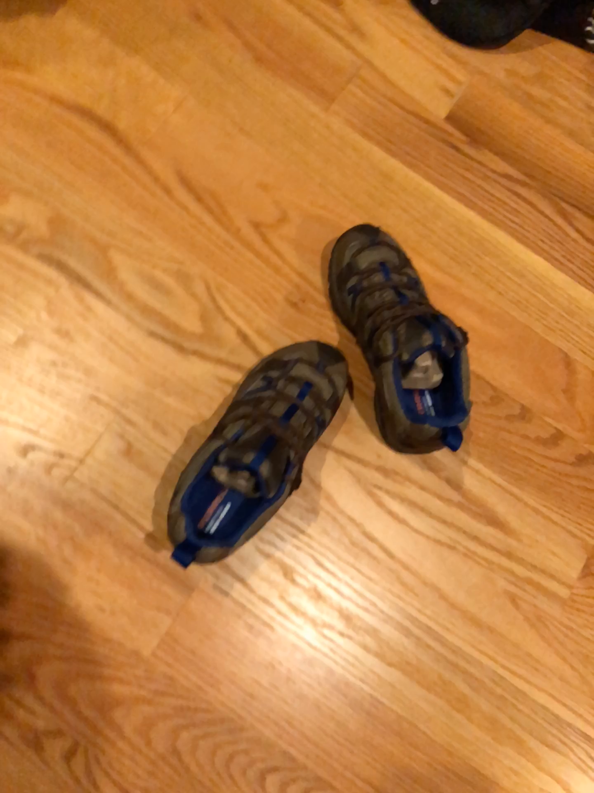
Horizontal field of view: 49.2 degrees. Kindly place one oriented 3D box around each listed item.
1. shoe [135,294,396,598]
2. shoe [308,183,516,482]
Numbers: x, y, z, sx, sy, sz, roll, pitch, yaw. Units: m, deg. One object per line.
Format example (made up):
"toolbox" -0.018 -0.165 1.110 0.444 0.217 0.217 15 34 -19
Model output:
"shoe" -0.028 0.044 0.582 0.094 0.106 0.240 35 74 0
"shoe" 0.100 -0.058 0.618 0.097 0.094 0.252 -14 80 -13
